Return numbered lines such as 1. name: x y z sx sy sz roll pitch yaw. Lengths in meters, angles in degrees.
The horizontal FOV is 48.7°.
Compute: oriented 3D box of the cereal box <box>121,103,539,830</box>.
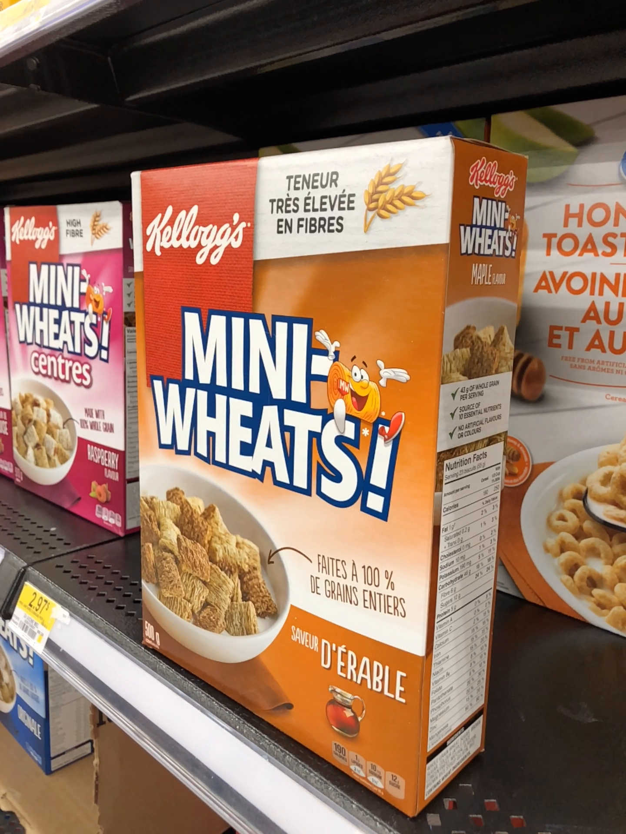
1. cereal box: -0.008 0.011 0.337 0.200 0.269 0.060 12 16 43
